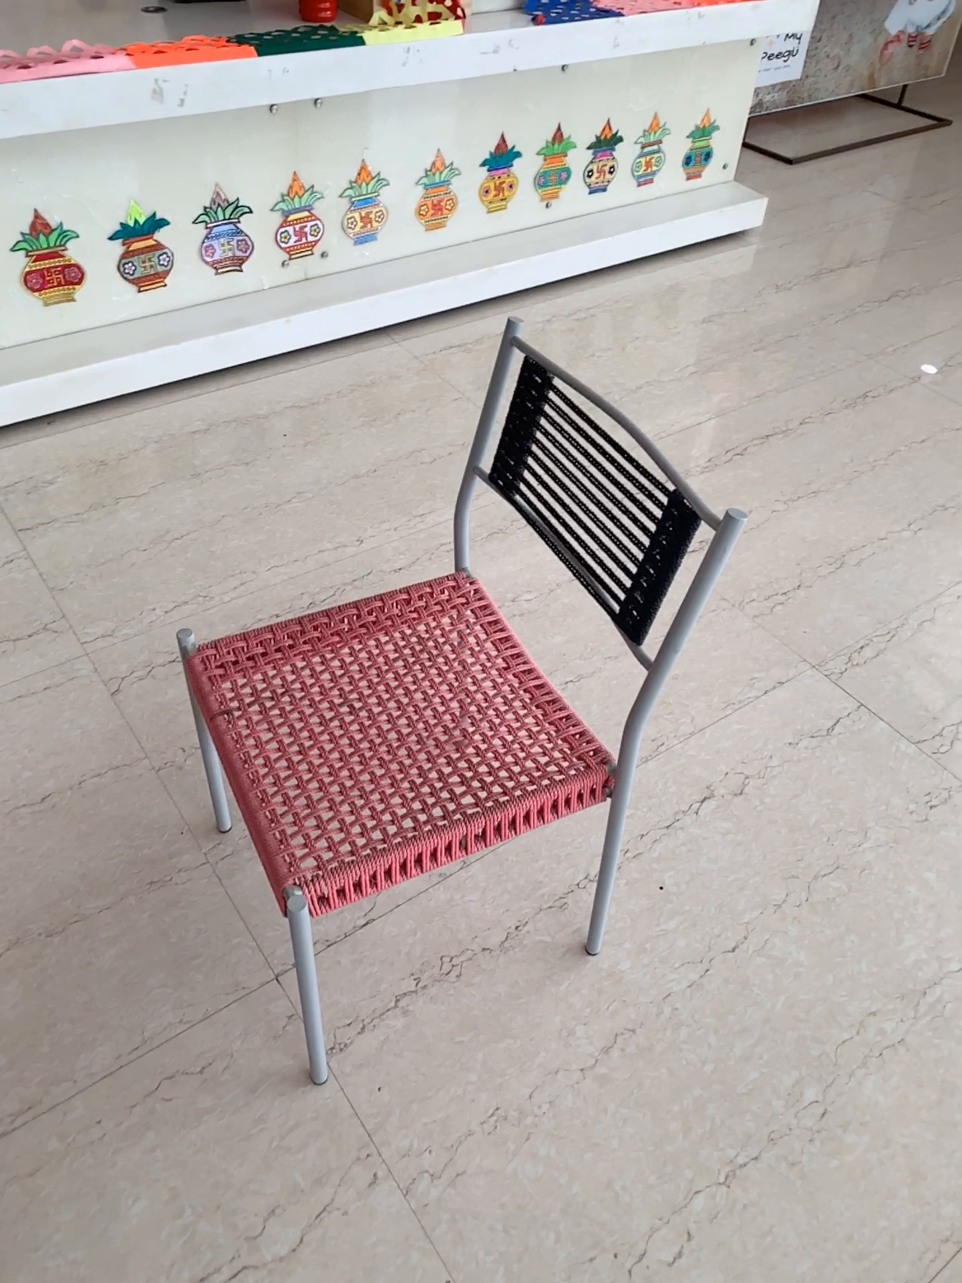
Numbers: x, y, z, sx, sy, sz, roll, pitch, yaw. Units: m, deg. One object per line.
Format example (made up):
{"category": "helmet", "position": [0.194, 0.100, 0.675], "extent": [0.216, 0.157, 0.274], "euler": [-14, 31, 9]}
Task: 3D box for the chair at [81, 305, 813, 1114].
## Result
{"category": "chair", "position": [-0.077, 0.075, 1.256], "extent": [0.581, 0.734, 0.533], "euler": [-18, 47, -22]}
